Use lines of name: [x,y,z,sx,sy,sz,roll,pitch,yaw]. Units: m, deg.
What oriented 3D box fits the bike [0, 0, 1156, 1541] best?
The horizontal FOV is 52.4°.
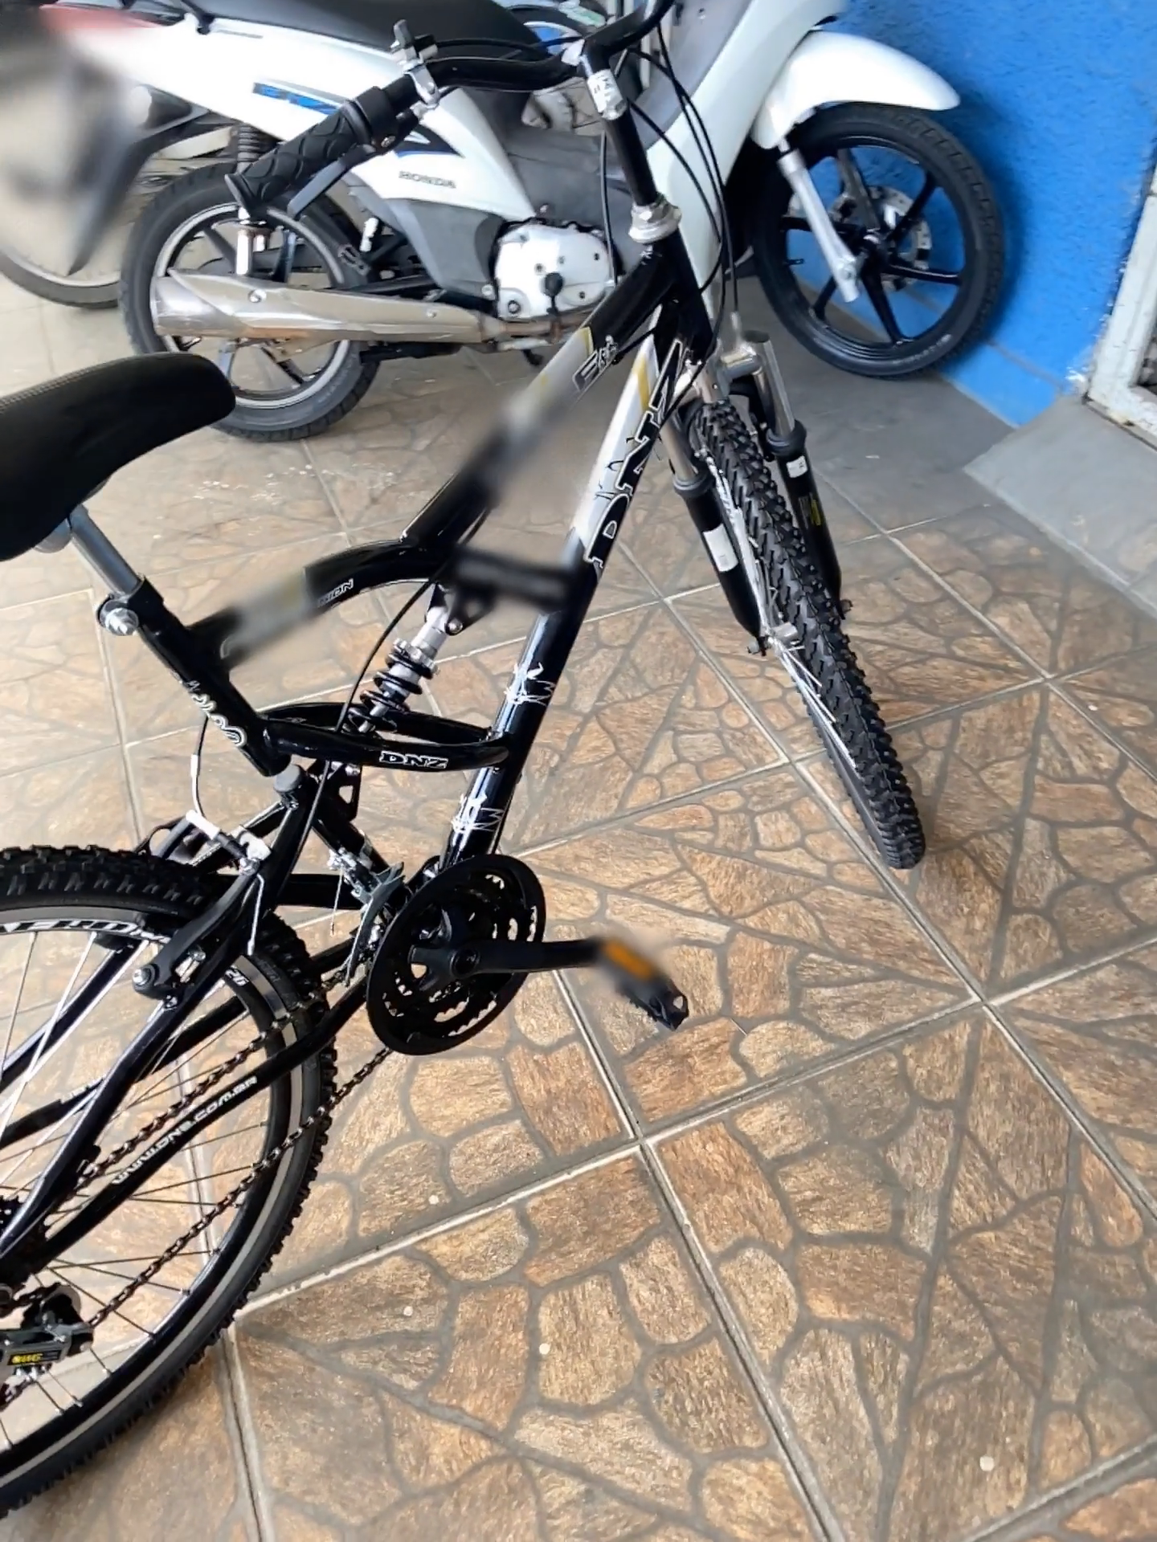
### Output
bike: [-0.236,-0.124,1.001,0.604,1.153,1.592,27,53,26]
